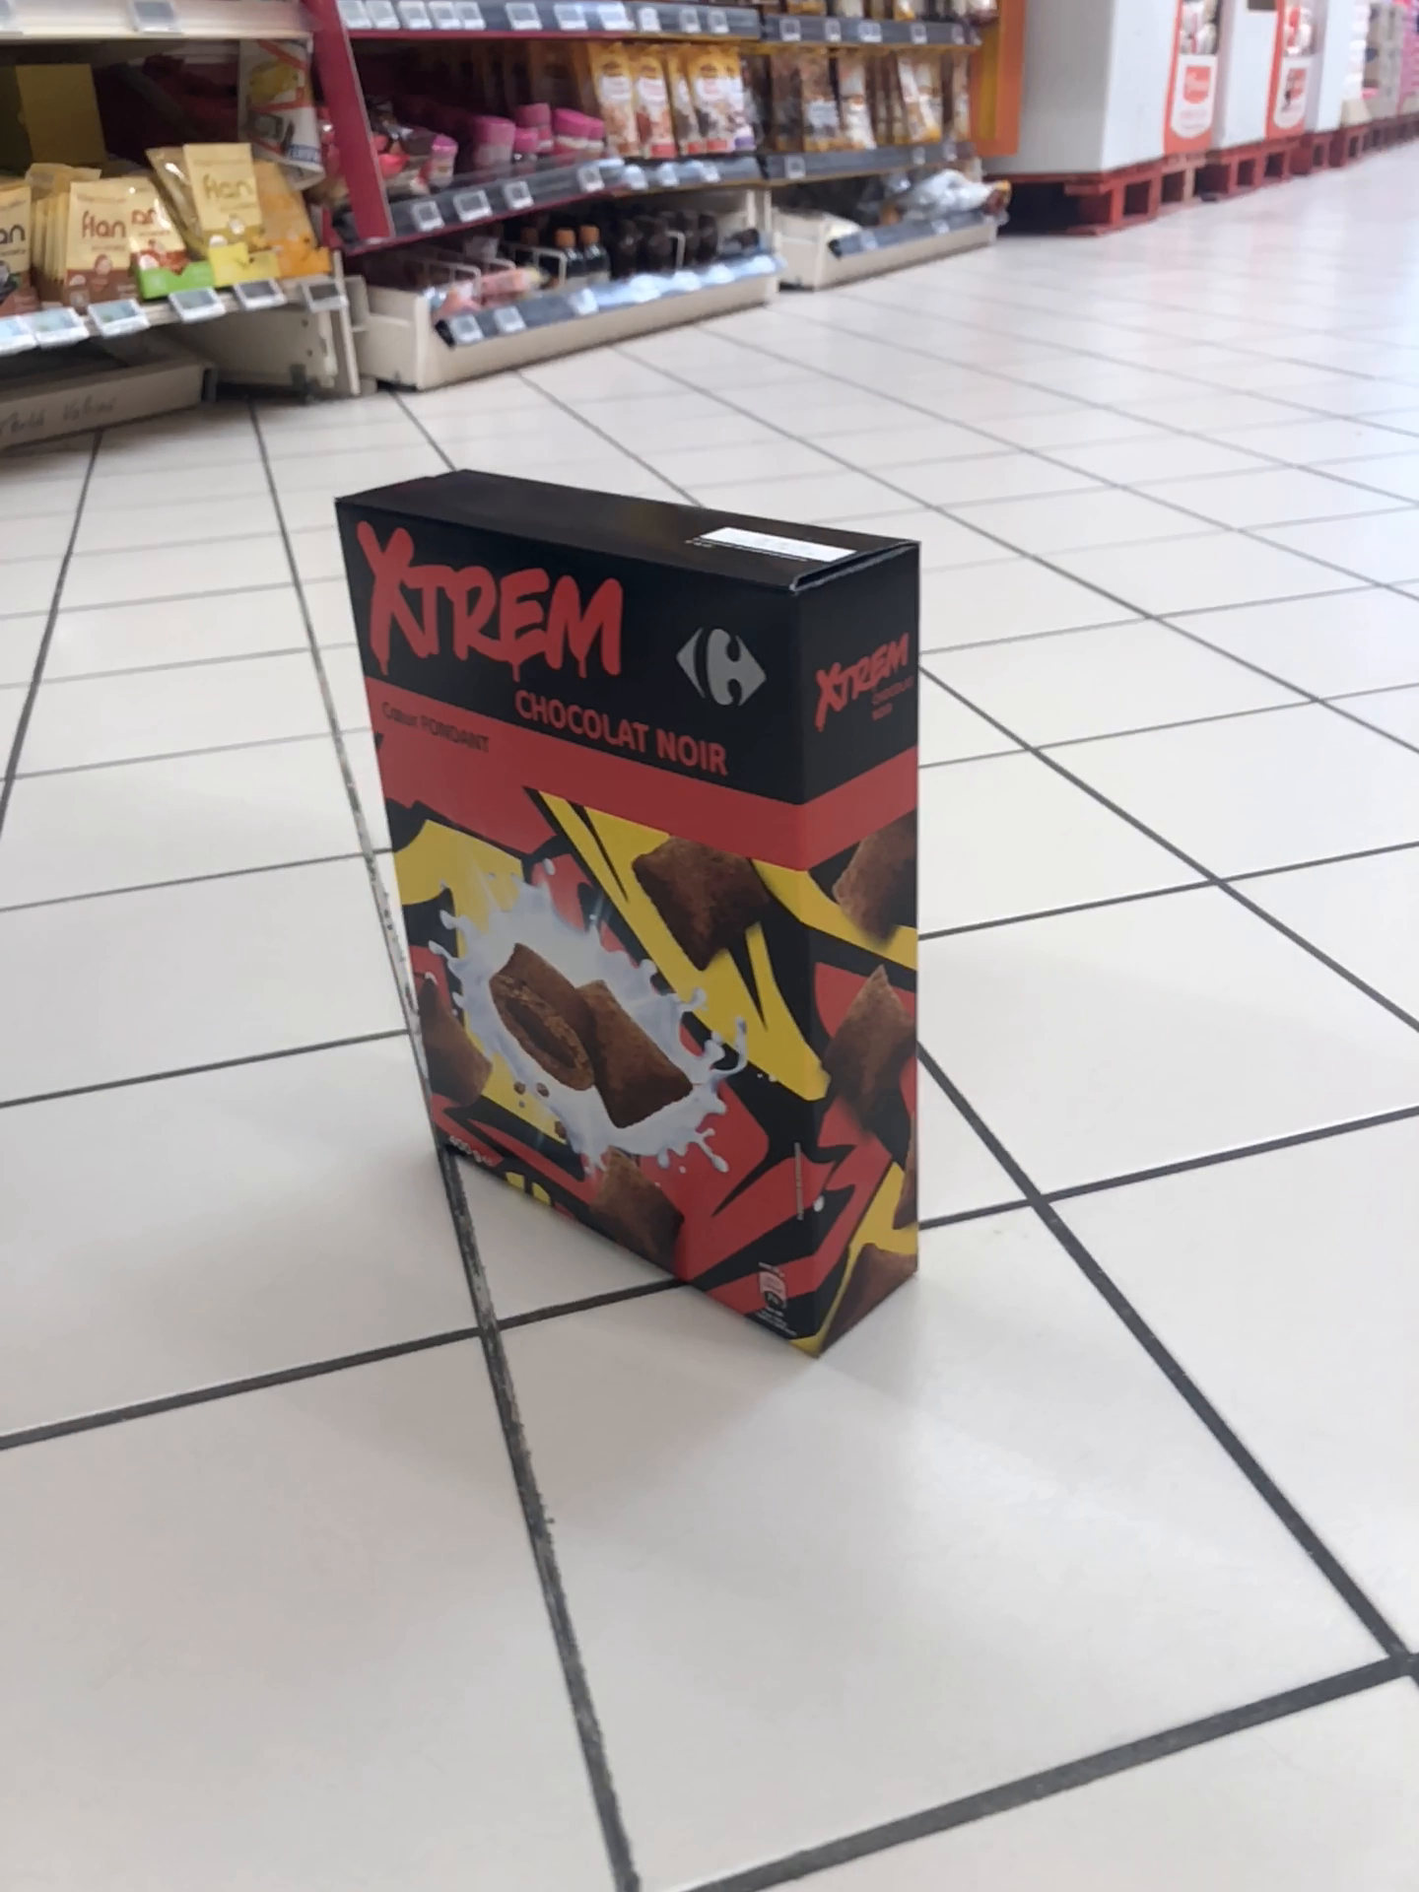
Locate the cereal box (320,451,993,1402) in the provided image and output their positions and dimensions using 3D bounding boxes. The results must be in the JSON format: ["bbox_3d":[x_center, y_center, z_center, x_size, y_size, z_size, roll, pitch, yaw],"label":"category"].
[{"bbox_3d":[-0.018,-0.015,0.500,0.200,0.249,0.070,21,36,39],"label":"cereal box"}]
